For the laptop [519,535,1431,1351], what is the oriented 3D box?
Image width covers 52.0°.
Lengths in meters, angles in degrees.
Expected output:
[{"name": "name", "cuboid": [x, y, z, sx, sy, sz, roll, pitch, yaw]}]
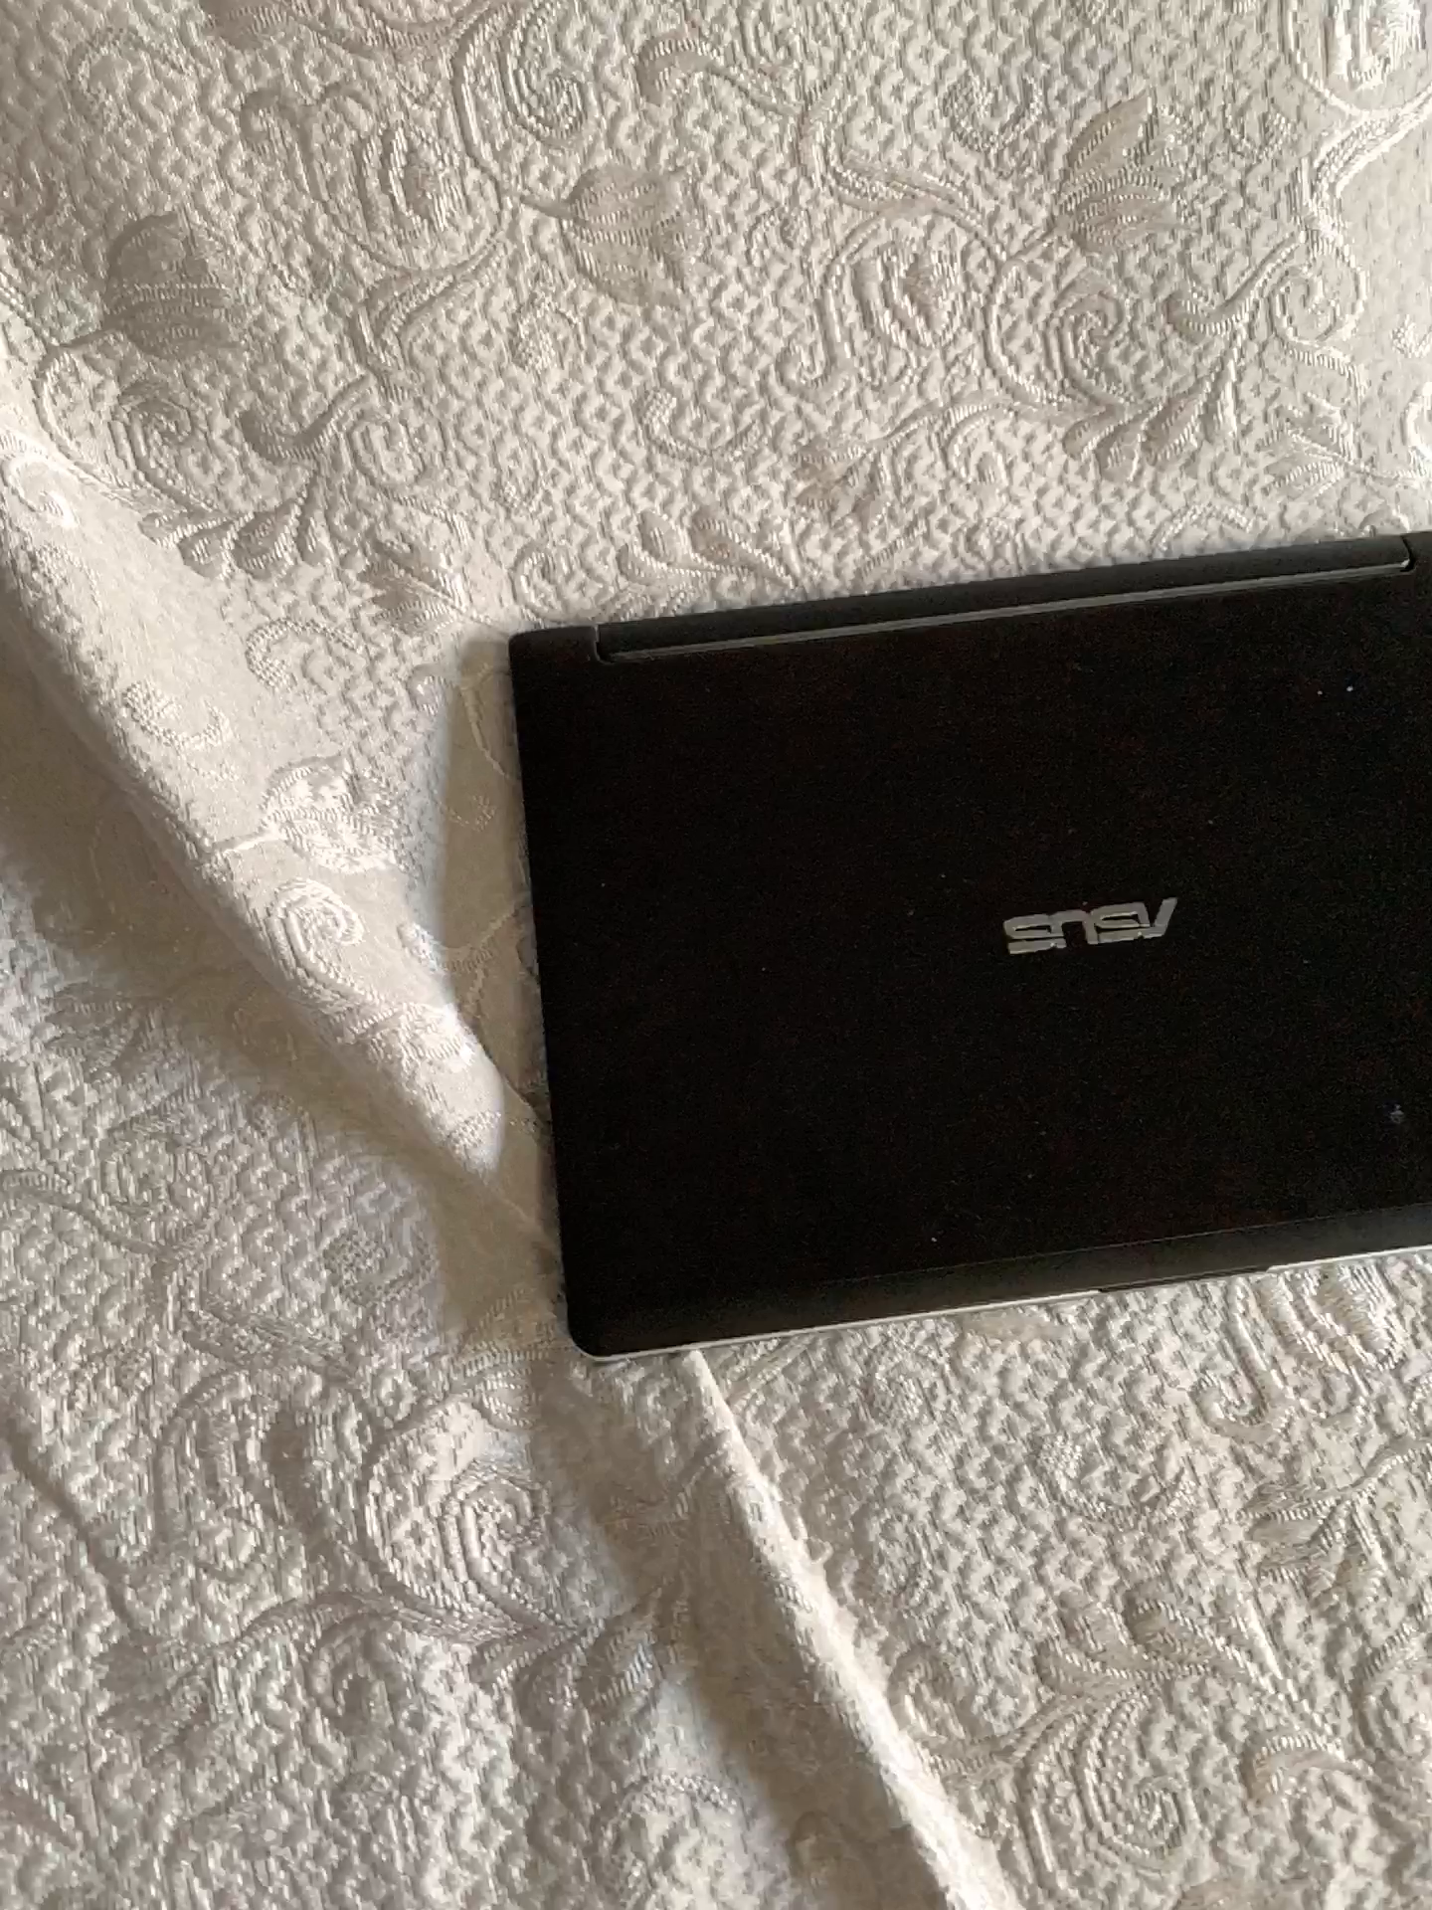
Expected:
[{"name": "laptop", "cuboid": [0.115, -0.019, 0.452, 0.333, 0.001, 0.232, -7, 67, -4]}]
